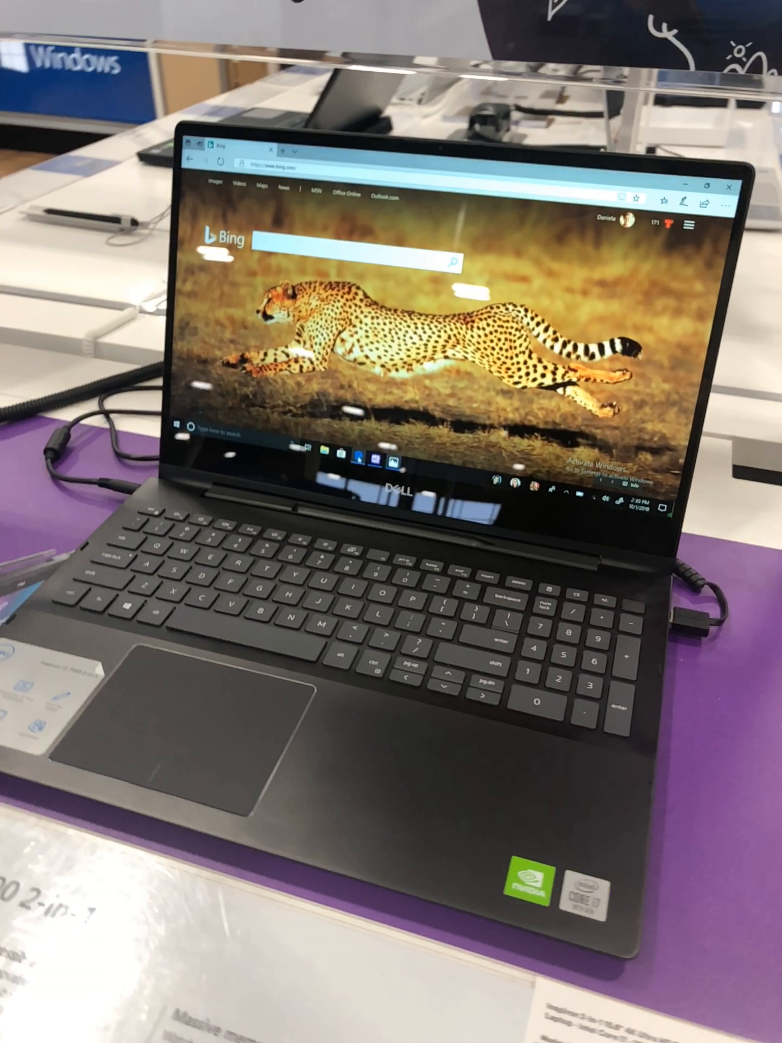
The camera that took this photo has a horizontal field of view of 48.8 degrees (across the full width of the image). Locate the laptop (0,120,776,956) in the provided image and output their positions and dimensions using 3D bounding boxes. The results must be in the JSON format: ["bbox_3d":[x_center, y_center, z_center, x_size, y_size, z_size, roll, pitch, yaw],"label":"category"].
[{"bbox_3d":[-0.024,-0.044,0.429,0.341,0.207,0.325,11,37,14],"label":"laptop"}]
